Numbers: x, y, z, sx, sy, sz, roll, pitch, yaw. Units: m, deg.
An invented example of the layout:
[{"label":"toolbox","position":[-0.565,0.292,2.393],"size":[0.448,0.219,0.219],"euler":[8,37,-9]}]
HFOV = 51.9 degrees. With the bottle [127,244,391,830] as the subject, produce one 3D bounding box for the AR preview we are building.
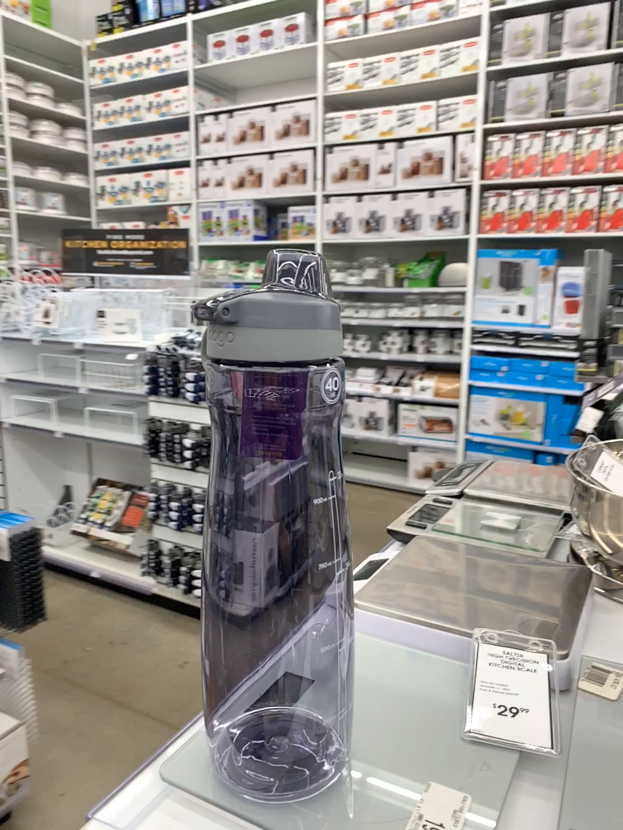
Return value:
[{"label":"bottle","position":[-0.027,0.063,0.373],"size":[0.100,0.309,0.100],"euler":[0,11,0]}]
